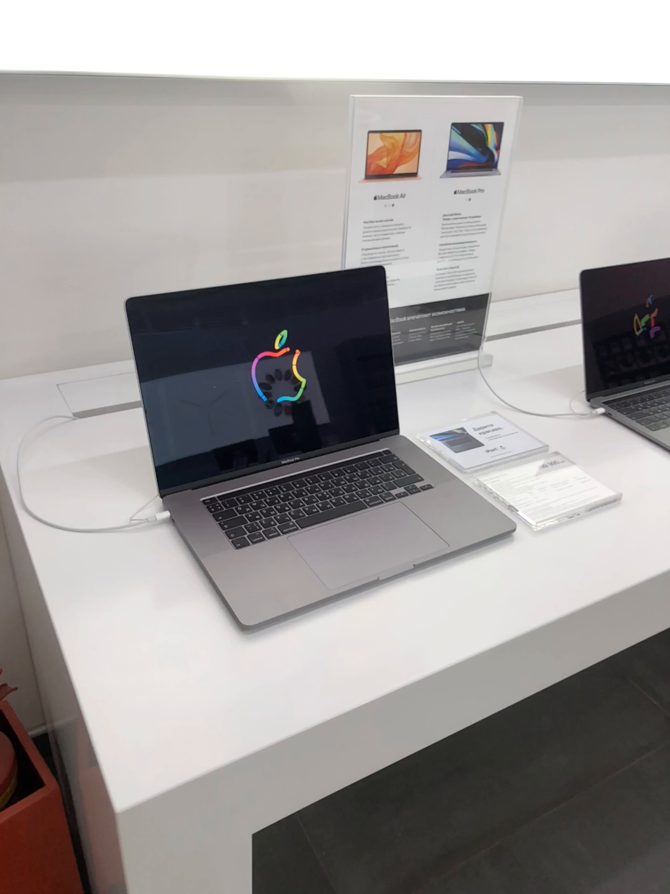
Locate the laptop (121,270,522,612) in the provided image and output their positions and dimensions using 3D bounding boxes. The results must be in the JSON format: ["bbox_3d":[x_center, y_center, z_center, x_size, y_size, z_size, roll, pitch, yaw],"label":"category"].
[{"bbox_3d":[-0.029,-0.039,0.853,0.328,0.209,0.311,-14,35,-28],"label":"laptop"}]
